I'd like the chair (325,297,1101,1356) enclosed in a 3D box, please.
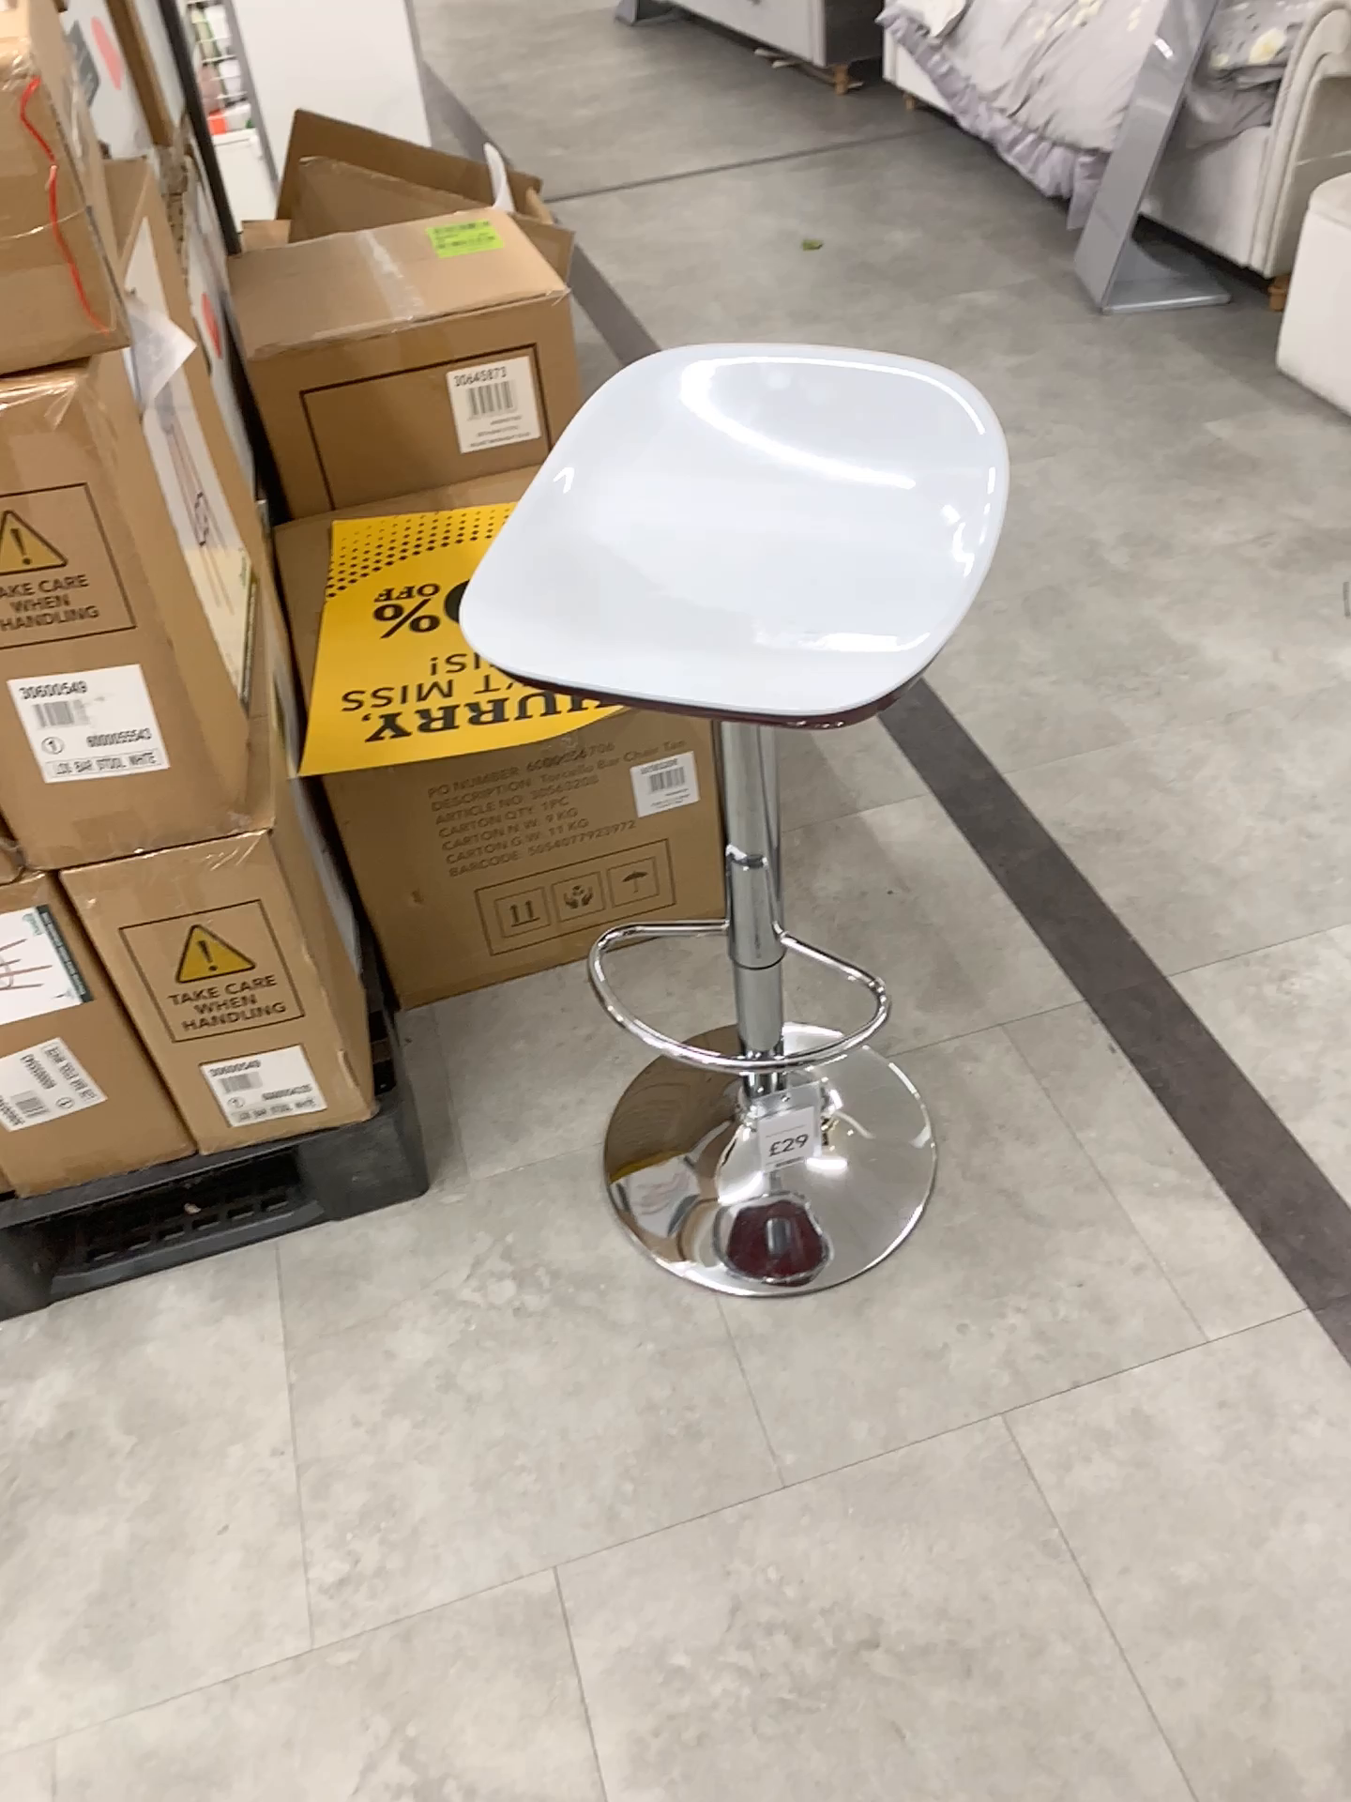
[{"bbox_3d":[0.090,-0.048,1.245,0.444,0.797,0.456,8,45,16],"label":"chair"}]
